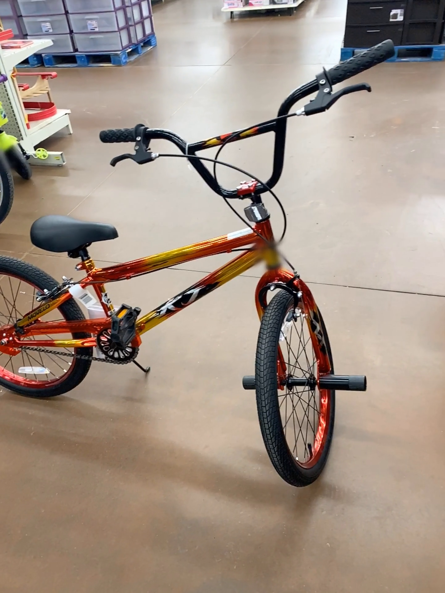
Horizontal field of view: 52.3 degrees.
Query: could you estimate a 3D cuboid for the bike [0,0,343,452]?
[{"bbox_3d":[-0.288,-0.171,1.243,1.122,0.925,0.707,-1,38,7],"label":"bike"}]
